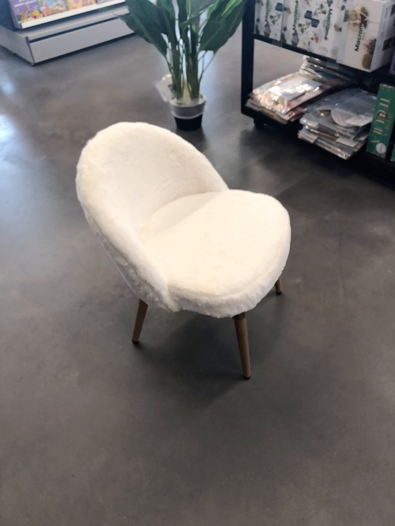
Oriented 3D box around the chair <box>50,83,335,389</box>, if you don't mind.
[{"bbox_3d":[0.018,-0.084,1.099,0.470,0.537,0.413,17,45,21],"label":"chair"}]
